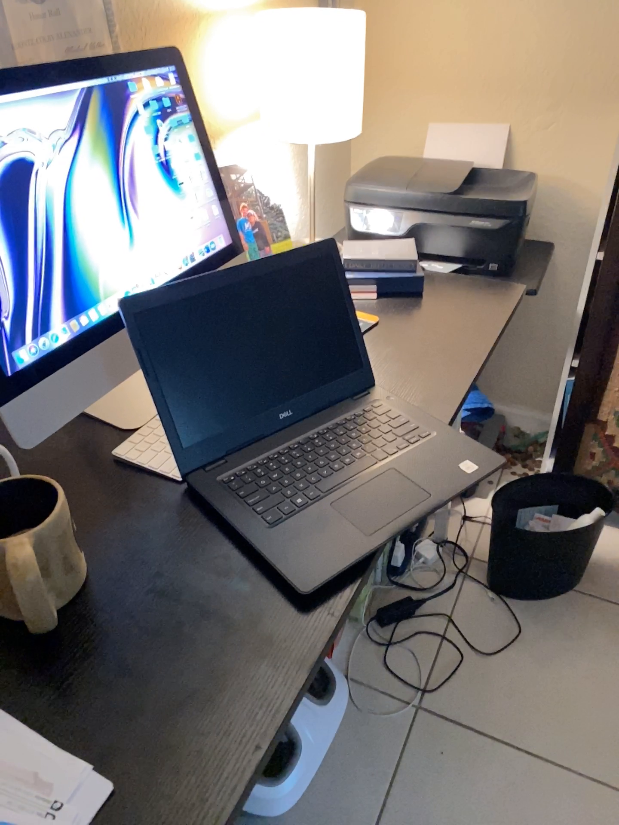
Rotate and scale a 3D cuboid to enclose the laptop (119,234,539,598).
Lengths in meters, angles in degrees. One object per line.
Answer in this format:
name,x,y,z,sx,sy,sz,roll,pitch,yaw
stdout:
laptop,0.016,-0.036,0.778,0.337,0.206,0.344,-26,41,-31
